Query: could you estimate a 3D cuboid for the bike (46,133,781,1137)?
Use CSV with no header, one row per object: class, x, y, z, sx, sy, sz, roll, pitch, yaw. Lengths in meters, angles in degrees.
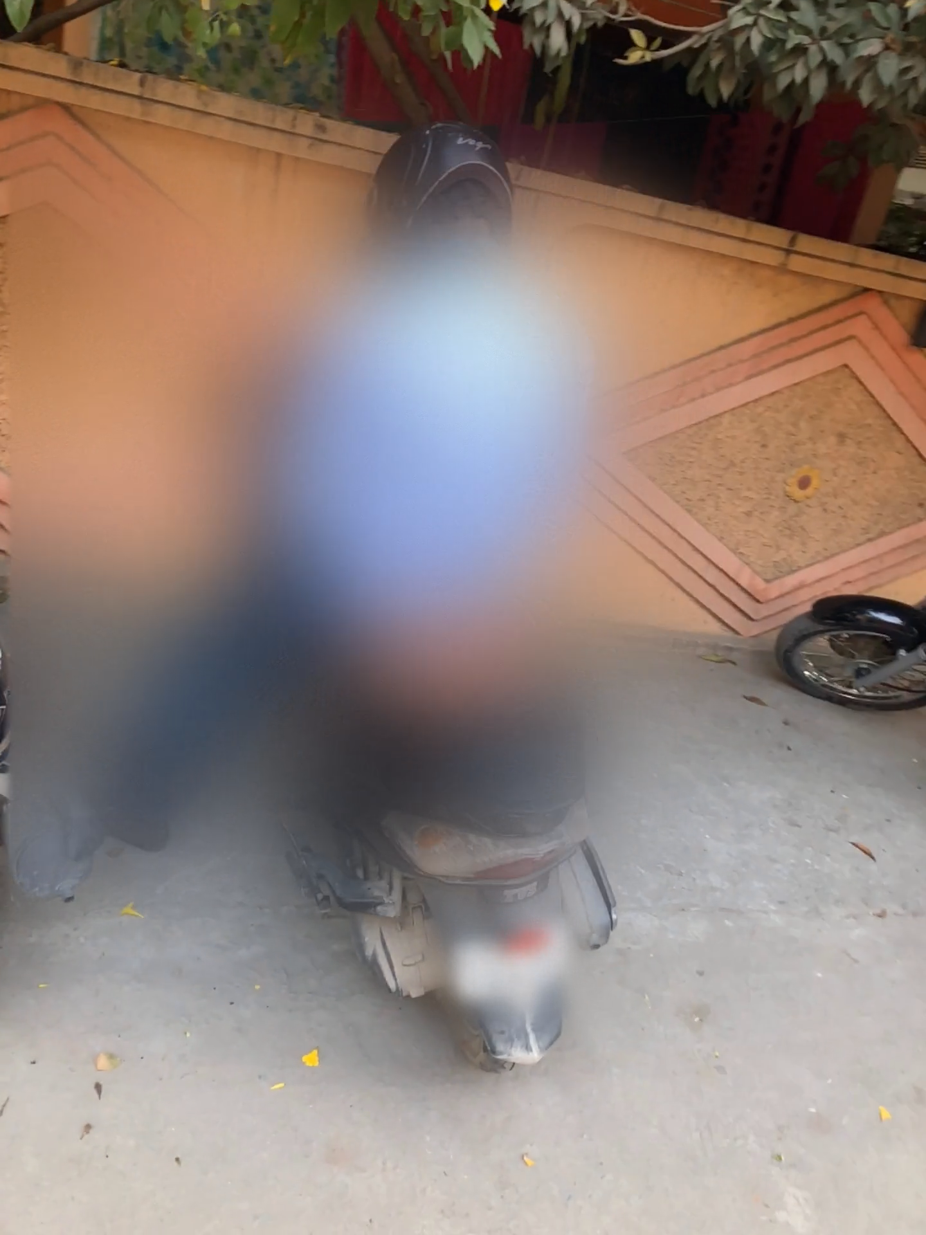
bike,-0.273,-0.079,1.882,0.629,1.038,1.324,-3,34,-32
